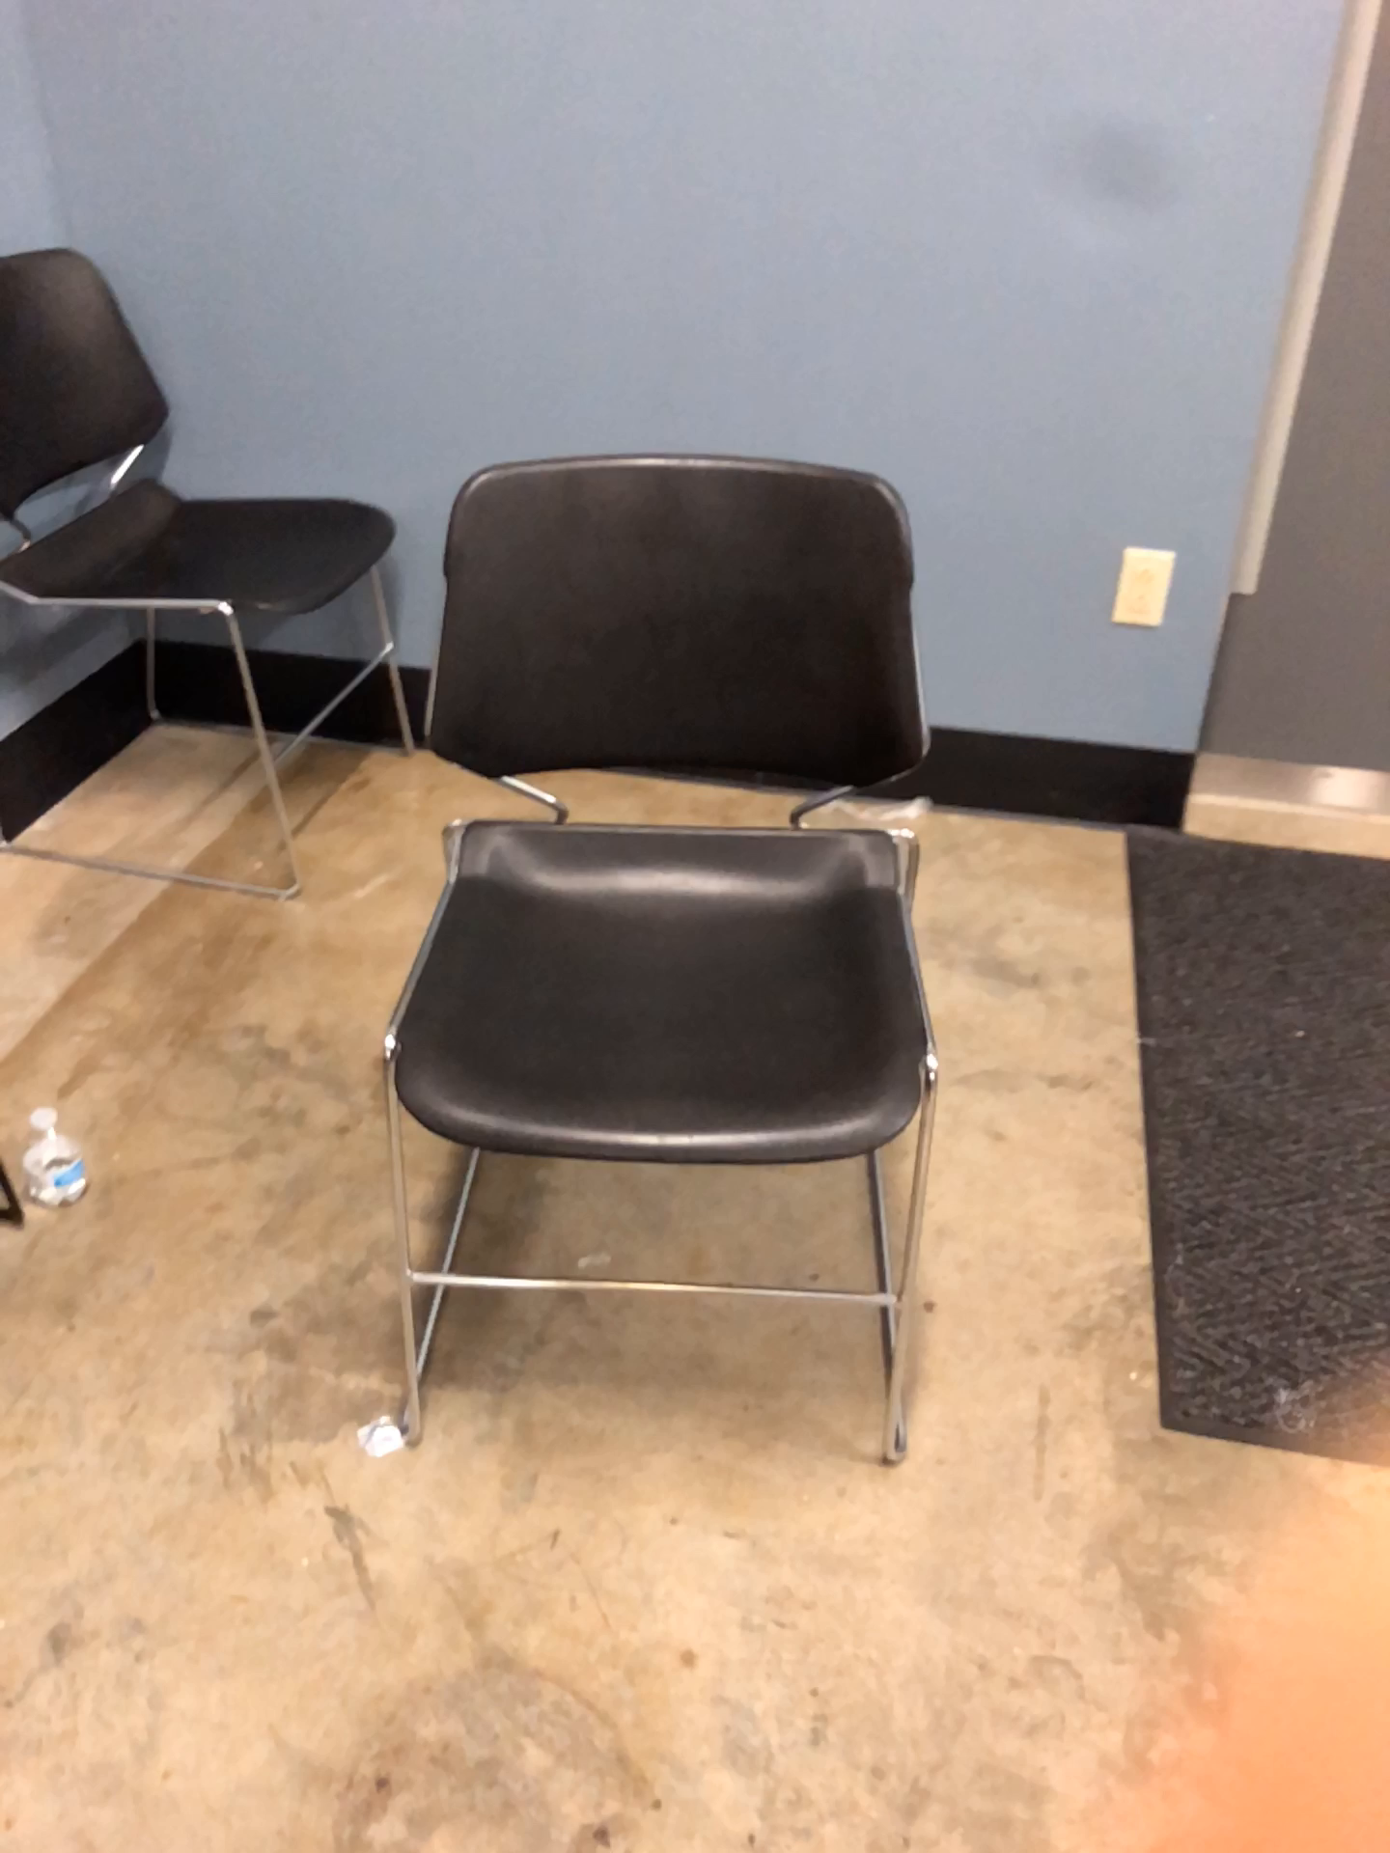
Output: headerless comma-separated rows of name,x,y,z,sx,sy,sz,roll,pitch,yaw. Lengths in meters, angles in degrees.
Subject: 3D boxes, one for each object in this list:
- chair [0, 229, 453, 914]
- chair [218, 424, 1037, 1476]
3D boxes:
chair,-0.766,-0.538,2.262,0.595,0.799,0.553,7,33,11
chair,-0.037,0.013,1.438,0.531,0.799,0.547,2,33,2
